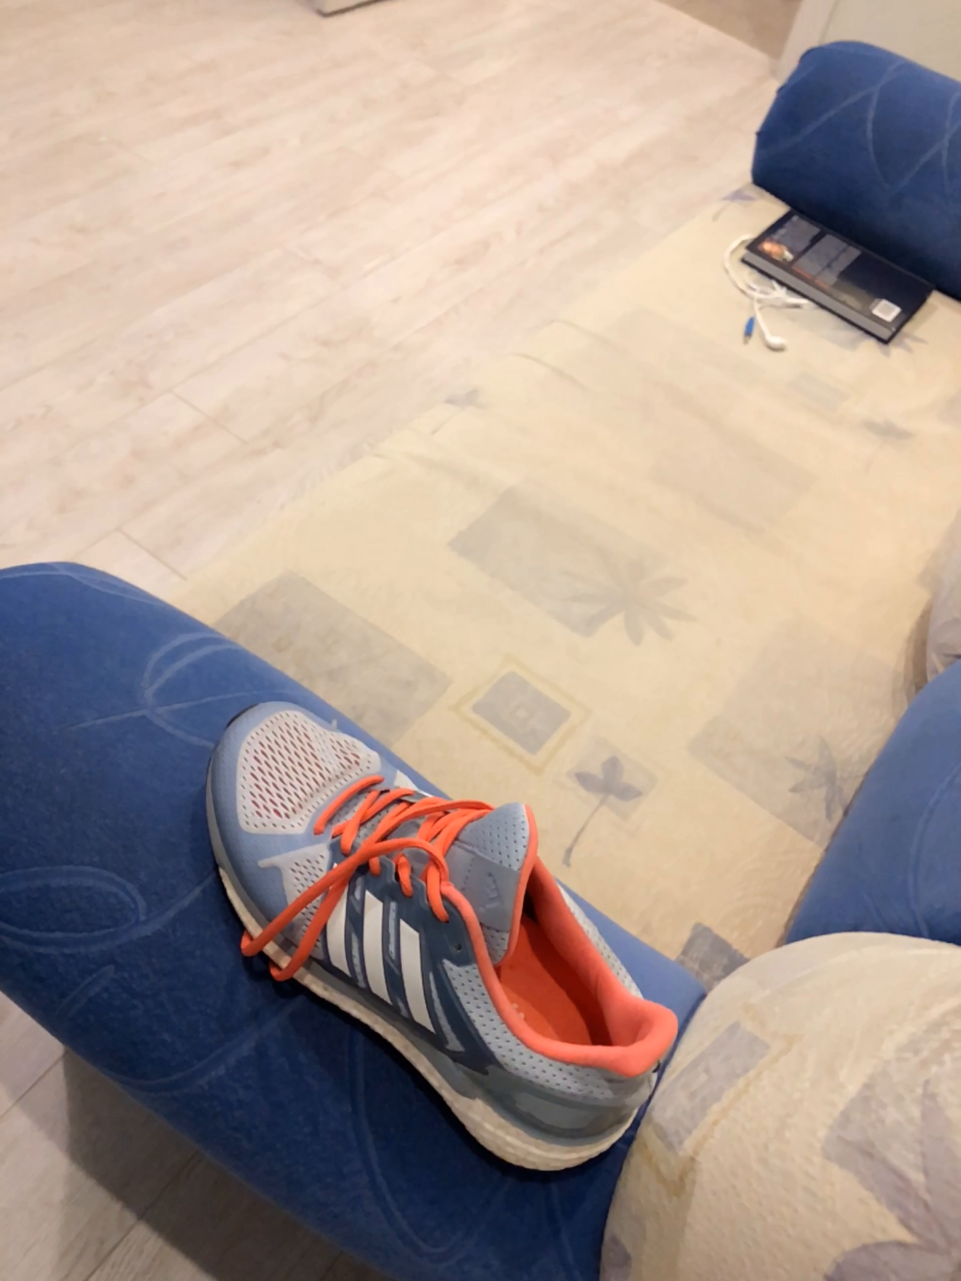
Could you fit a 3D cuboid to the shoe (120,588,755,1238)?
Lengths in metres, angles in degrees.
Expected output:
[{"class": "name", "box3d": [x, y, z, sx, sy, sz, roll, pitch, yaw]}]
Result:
[{"class": "shoe", "box3d": [-0.031, 0.117, 0.489, 0.270, 0.109, 0.108, 39, 54, 18]}]
